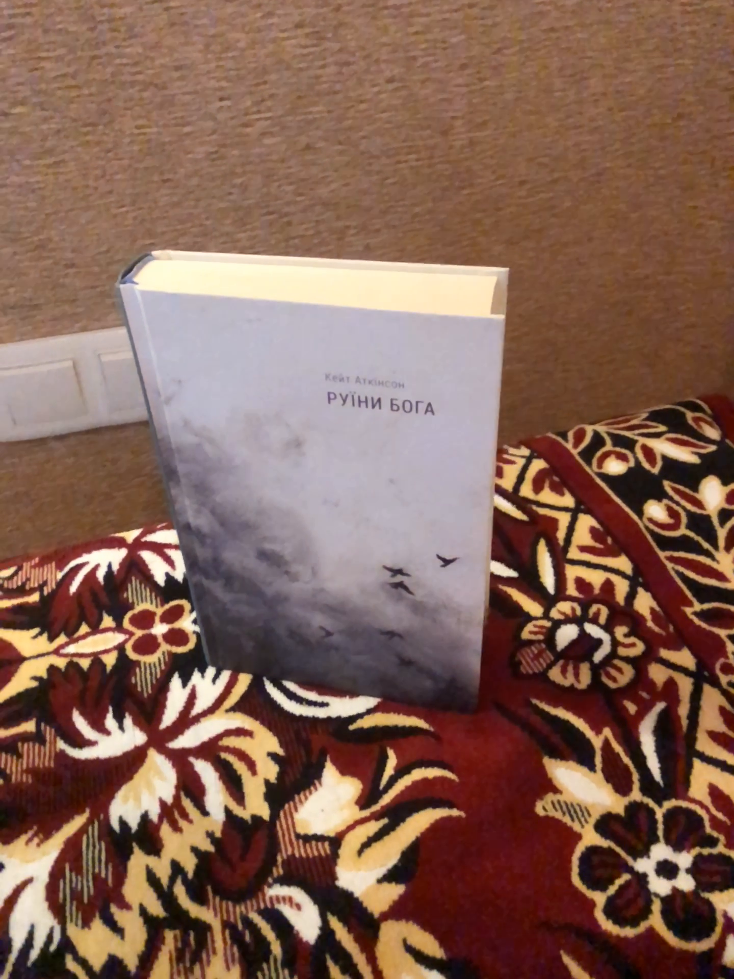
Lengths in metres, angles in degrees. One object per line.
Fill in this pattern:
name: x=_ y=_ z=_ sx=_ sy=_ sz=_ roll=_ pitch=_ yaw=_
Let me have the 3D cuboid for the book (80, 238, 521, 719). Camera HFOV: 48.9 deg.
book: x=-0.019 y=0.004 z=0.342 sx=0.145 sy=0.200 sz=0.048 roll=7 pitch=40 yaw=11
